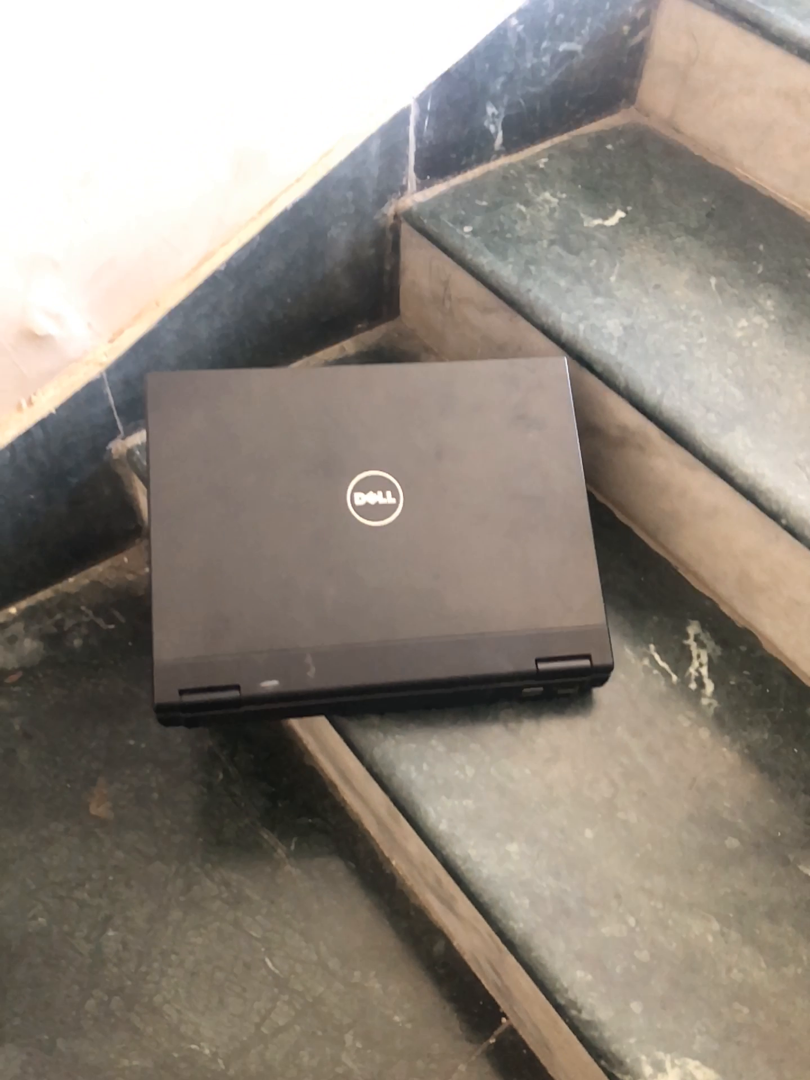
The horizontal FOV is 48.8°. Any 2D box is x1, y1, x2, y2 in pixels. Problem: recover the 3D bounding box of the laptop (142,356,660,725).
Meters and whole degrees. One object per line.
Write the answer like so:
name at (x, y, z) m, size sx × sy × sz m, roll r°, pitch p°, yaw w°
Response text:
laptop at (-0.018, -0.011, 0.622) m, size 0.302 × 0.095 × 0.233 m, roll -3°, pitch 53°, yaw -9°
